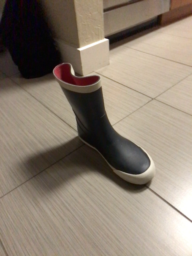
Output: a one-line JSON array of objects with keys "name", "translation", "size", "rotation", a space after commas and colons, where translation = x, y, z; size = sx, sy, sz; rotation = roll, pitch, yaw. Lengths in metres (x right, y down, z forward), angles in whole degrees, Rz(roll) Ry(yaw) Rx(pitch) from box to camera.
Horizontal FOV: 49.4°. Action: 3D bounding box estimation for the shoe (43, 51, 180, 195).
[{"name": "shoe", "translation": [0.024, -0.022, 0.483], "size": [0.102, 0.217, 0.279], "rotation": [-36, 48, -26]}]
